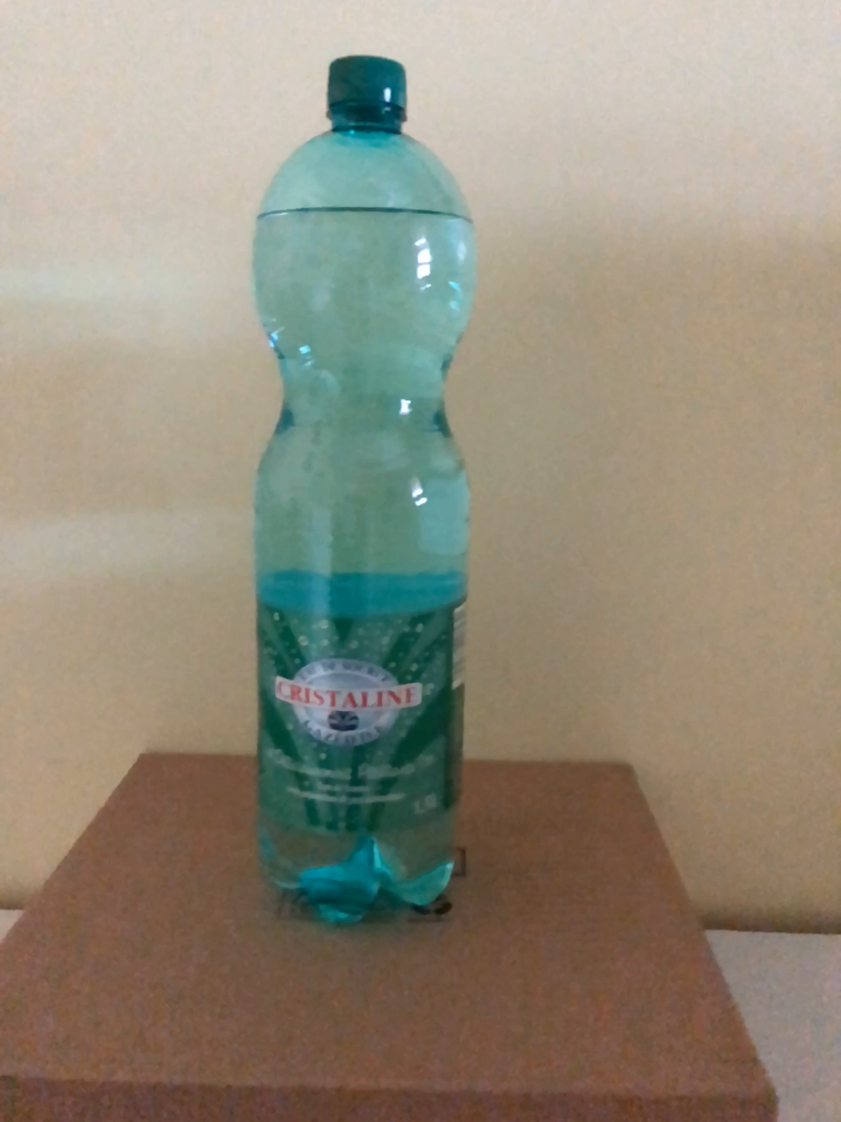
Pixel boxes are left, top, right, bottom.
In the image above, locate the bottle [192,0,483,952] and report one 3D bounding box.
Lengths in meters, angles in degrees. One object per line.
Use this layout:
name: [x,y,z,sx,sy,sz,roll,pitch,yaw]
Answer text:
bottle: [-0.027,-0.023,0.372,0.090,0.339,0.080,2,12,8]
